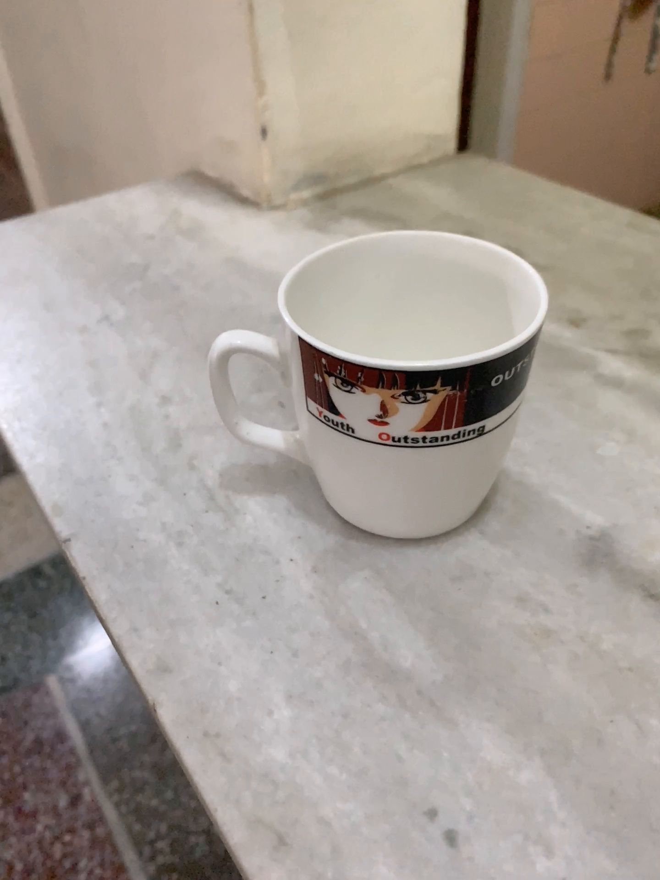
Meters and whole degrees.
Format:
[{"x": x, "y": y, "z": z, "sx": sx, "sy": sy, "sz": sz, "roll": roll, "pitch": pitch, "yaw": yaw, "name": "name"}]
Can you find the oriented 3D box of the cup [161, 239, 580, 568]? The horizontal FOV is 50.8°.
[{"x": 0.012, "y": -0.013, "z": 0.195, "sx": 0.090, "sy": 0.060, "sz": 0.070, "roll": 2, "pitch": 41, "yaw": 5, "name": "cup"}]
